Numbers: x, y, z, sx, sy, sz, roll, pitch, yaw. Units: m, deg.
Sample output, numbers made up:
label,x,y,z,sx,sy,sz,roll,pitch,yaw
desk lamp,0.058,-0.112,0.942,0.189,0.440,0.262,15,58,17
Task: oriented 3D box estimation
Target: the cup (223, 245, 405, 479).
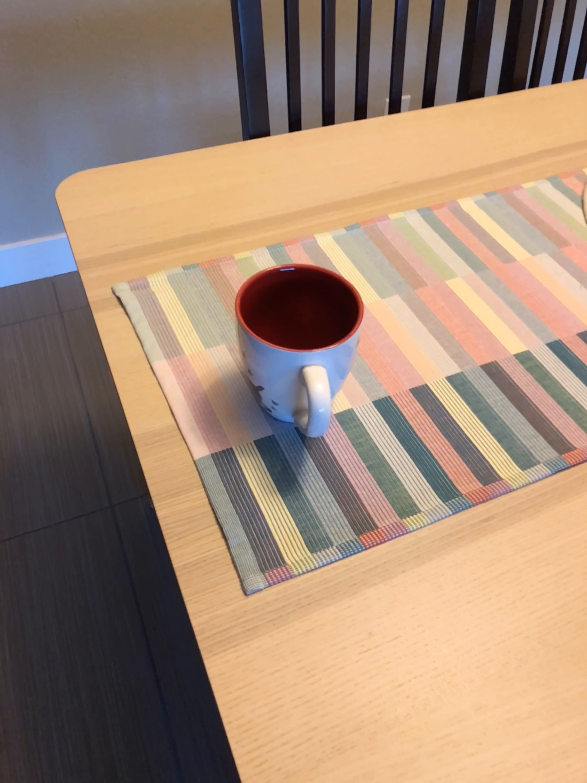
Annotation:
label,x,y,z,sx,sy,sz,roll,pitch,yaw
cup,0.008,-0.025,0.477,0.100,0.090,0.141,-6,49,-8
